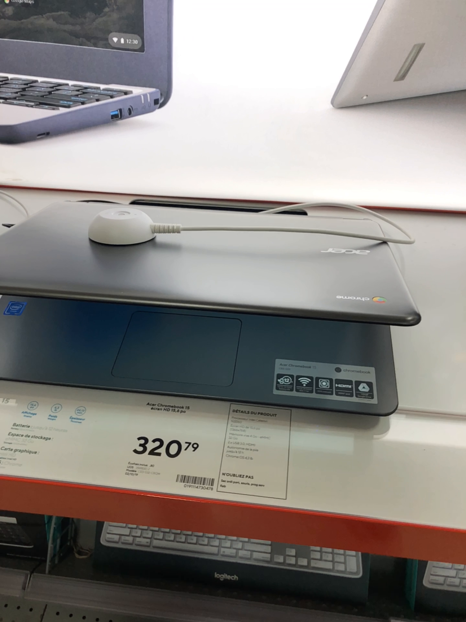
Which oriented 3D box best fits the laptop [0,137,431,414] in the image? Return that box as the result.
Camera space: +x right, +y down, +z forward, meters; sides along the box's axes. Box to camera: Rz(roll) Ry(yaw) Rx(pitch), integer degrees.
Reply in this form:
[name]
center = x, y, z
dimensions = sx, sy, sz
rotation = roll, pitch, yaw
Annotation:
[laptop]
center = -0.037, -0.054, 0.479
dimensions = 0.369, 0.088, 0.249
rotation = 5, 45, 7
